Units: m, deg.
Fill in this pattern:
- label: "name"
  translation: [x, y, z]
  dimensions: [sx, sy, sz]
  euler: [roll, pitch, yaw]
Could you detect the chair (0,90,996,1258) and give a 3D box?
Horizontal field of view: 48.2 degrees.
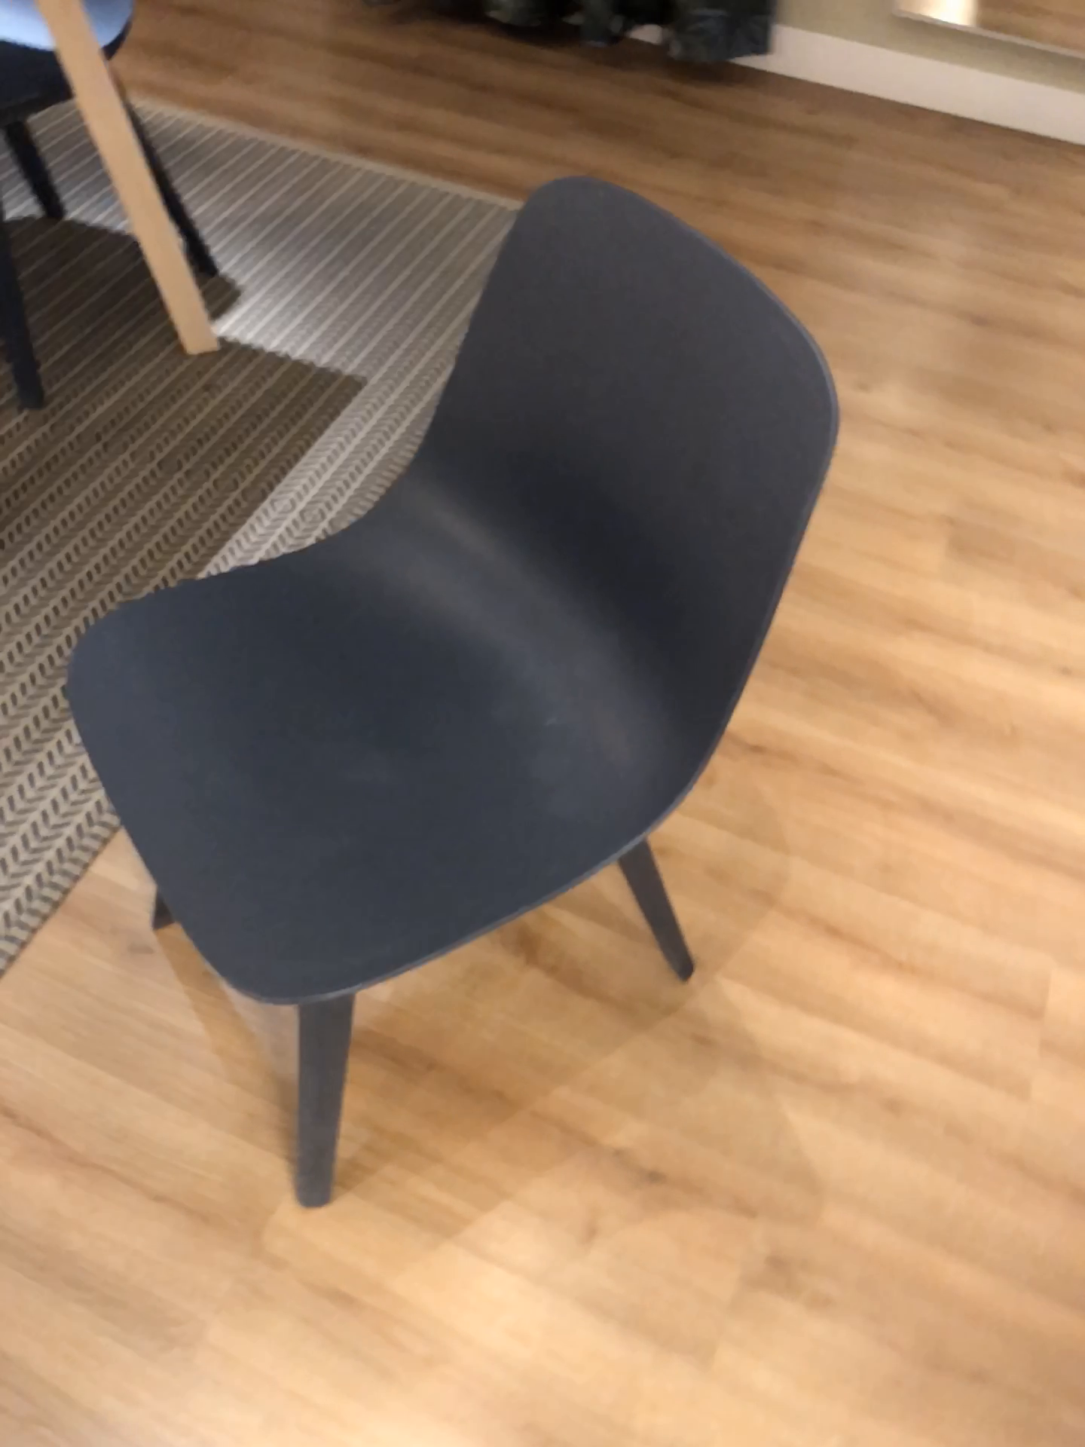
- label: "chair"
  translation: [-0.103, -0.015, 1.039]
  dimensions: [0.561, 0.728, 0.471]
  euler: [-26, 57, -23]
